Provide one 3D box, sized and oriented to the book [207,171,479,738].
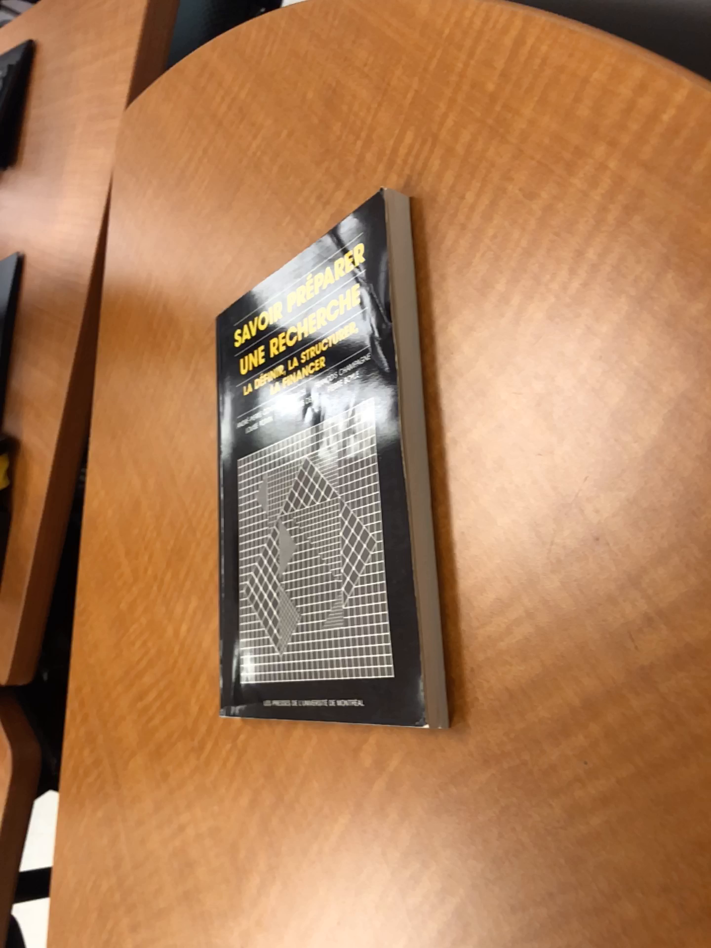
[{"bbox_3d":[-0.020,0.001,0.389,0.161,0.030,0.240,-20,68,48],"label":"book"}]
